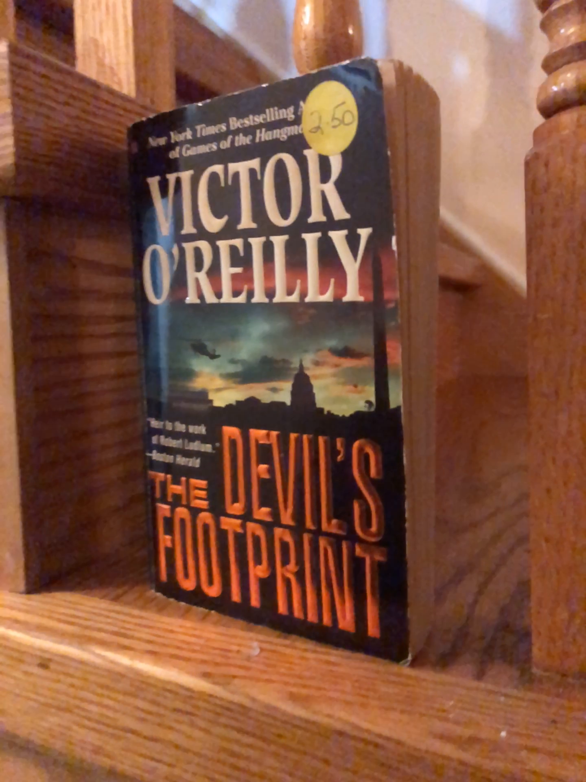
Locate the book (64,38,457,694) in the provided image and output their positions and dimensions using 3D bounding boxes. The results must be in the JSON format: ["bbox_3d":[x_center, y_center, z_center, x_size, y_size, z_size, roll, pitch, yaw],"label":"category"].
[{"bbox_3d":[-0.013,-0.007,0.225,0.120,0.170,0.050,2,9,36],"label":"book"}]
